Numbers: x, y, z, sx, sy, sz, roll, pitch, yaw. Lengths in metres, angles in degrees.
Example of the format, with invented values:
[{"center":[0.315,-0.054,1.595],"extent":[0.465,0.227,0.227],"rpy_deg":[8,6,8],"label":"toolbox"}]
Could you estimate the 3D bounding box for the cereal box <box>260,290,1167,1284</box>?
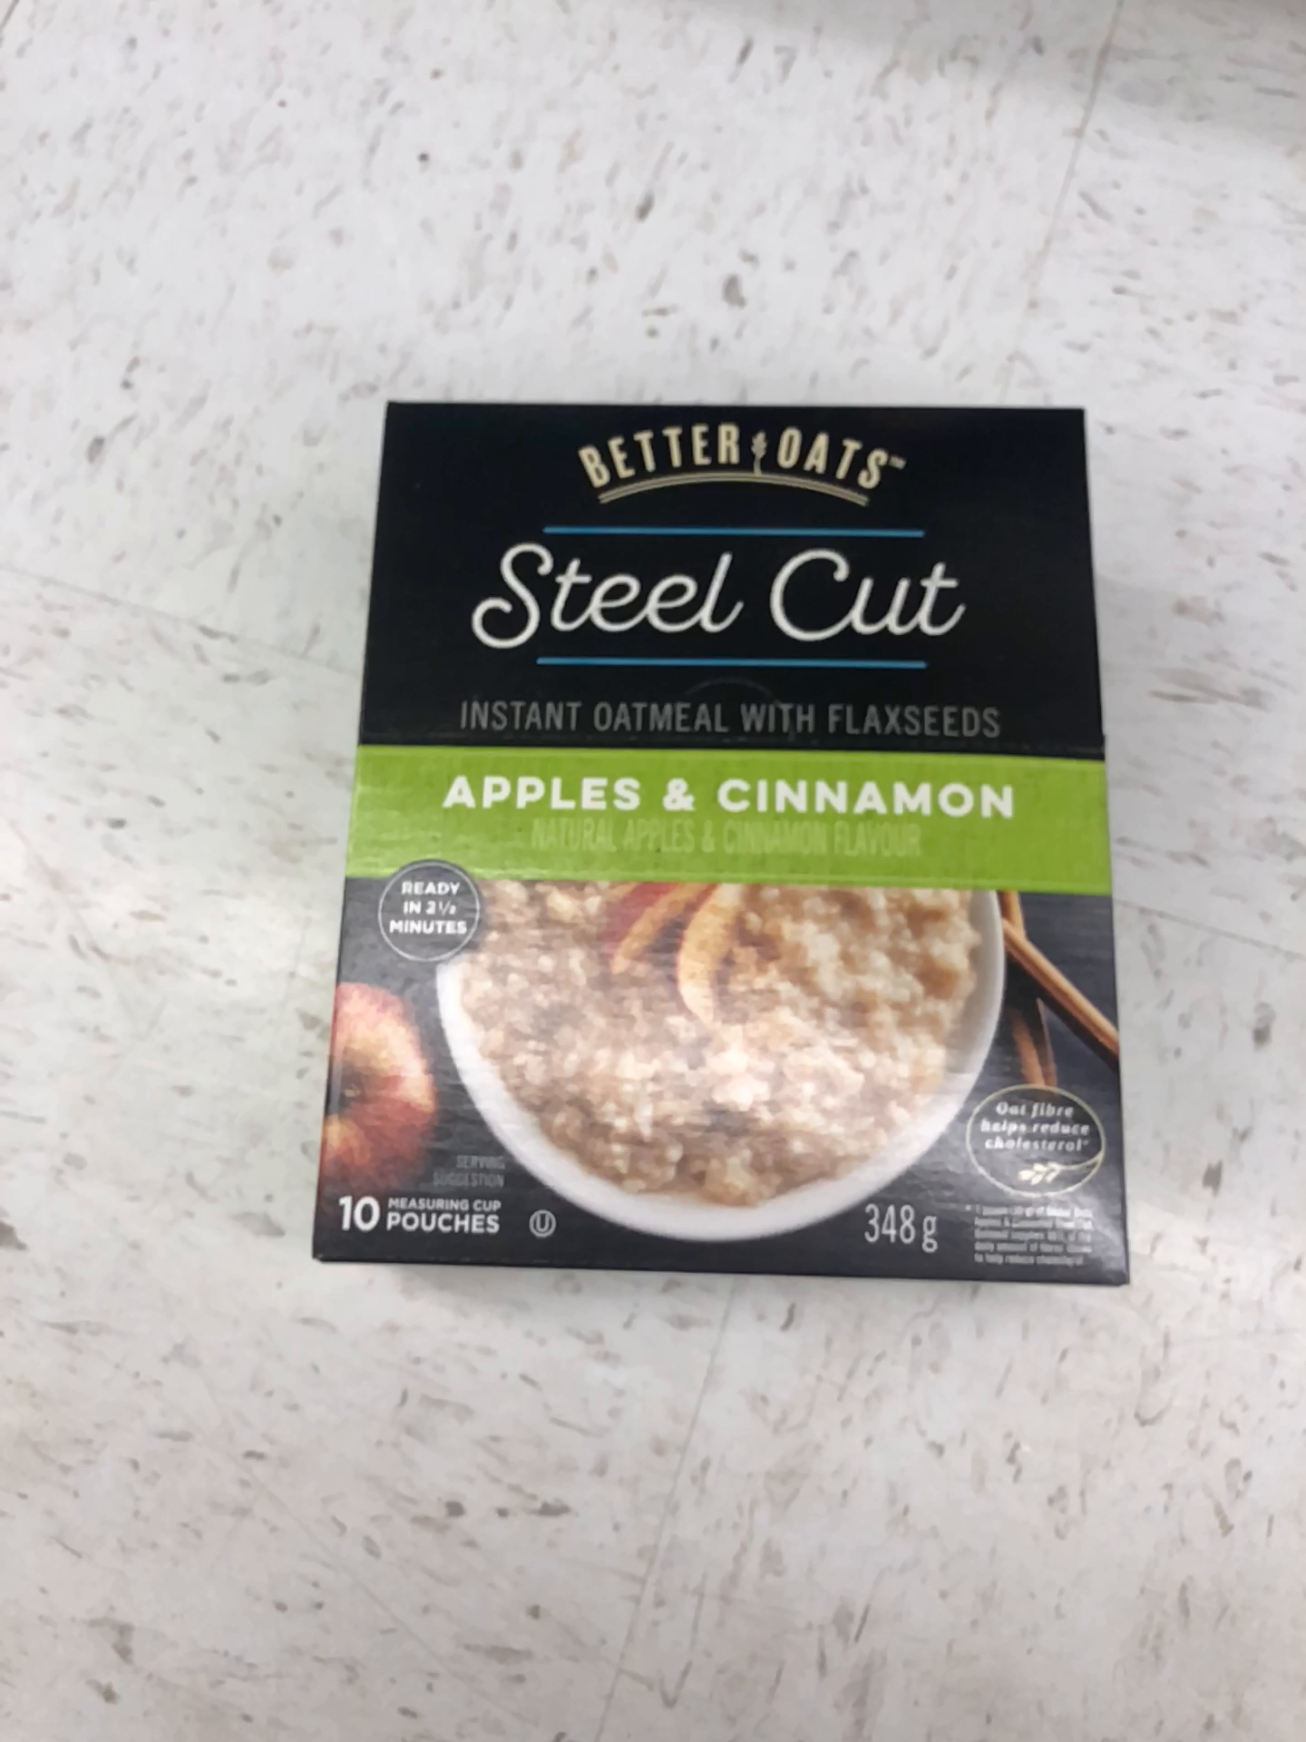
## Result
[{"center":[0.013,-0.017,0.319],"extent":[0.160,0.070,0.200],"rpy_deg":[1,75,1],"label":"cereal box"}]
